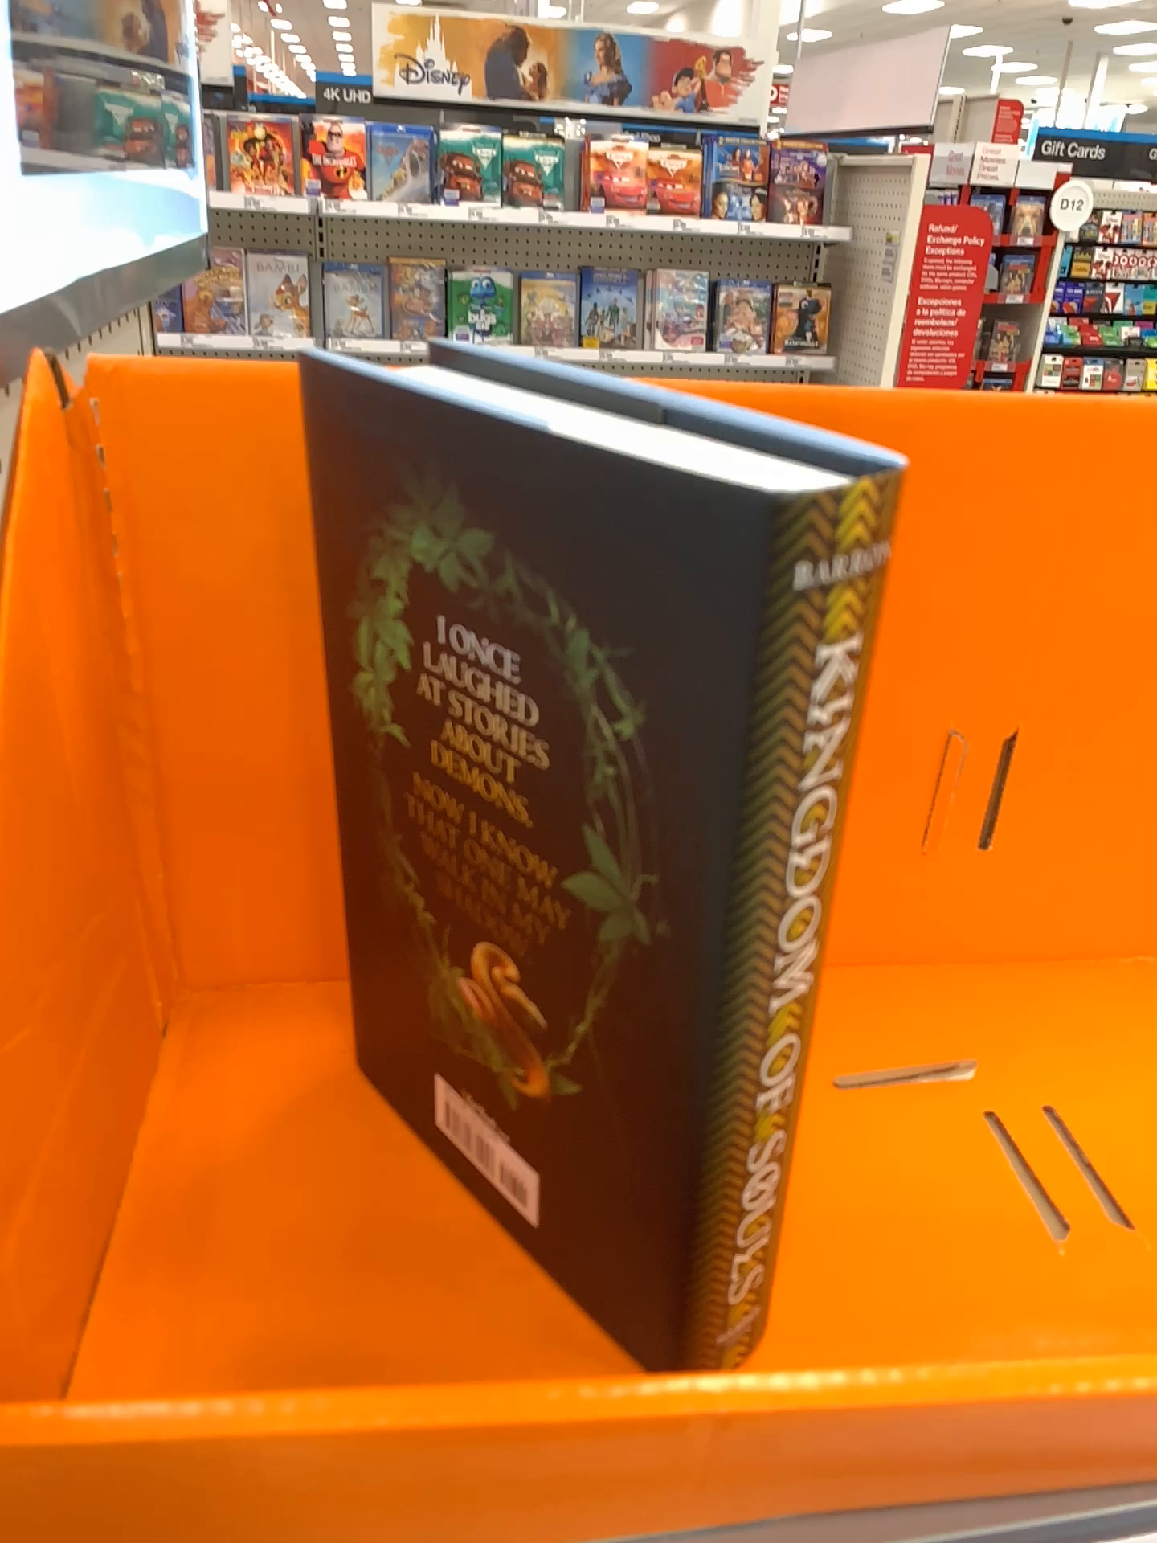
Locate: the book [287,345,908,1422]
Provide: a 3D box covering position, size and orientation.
[{"bbox_3d":[-0.009,0.026,0.312,0.040,0.240,0.161,-21,35,-35],"label":"book"}]
